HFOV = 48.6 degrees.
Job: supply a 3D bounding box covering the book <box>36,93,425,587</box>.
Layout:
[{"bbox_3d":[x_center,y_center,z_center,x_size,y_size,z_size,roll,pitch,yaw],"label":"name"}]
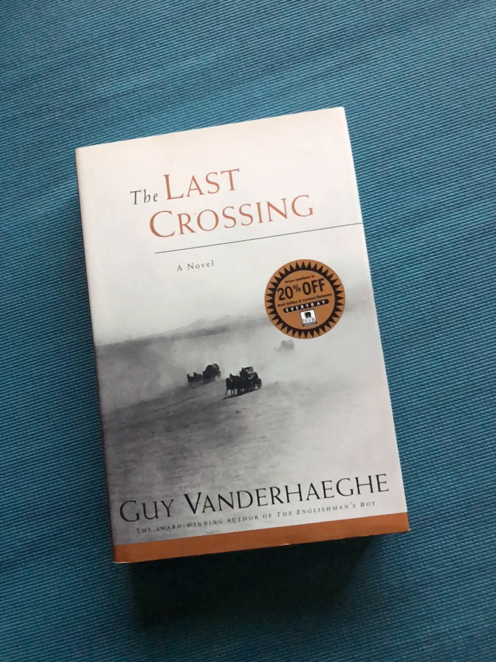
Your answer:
[{"bbox_3d":[-0.015,0.002,0.298,0.170,0.040,0.230,-8,82,2],"label":"book"}]
